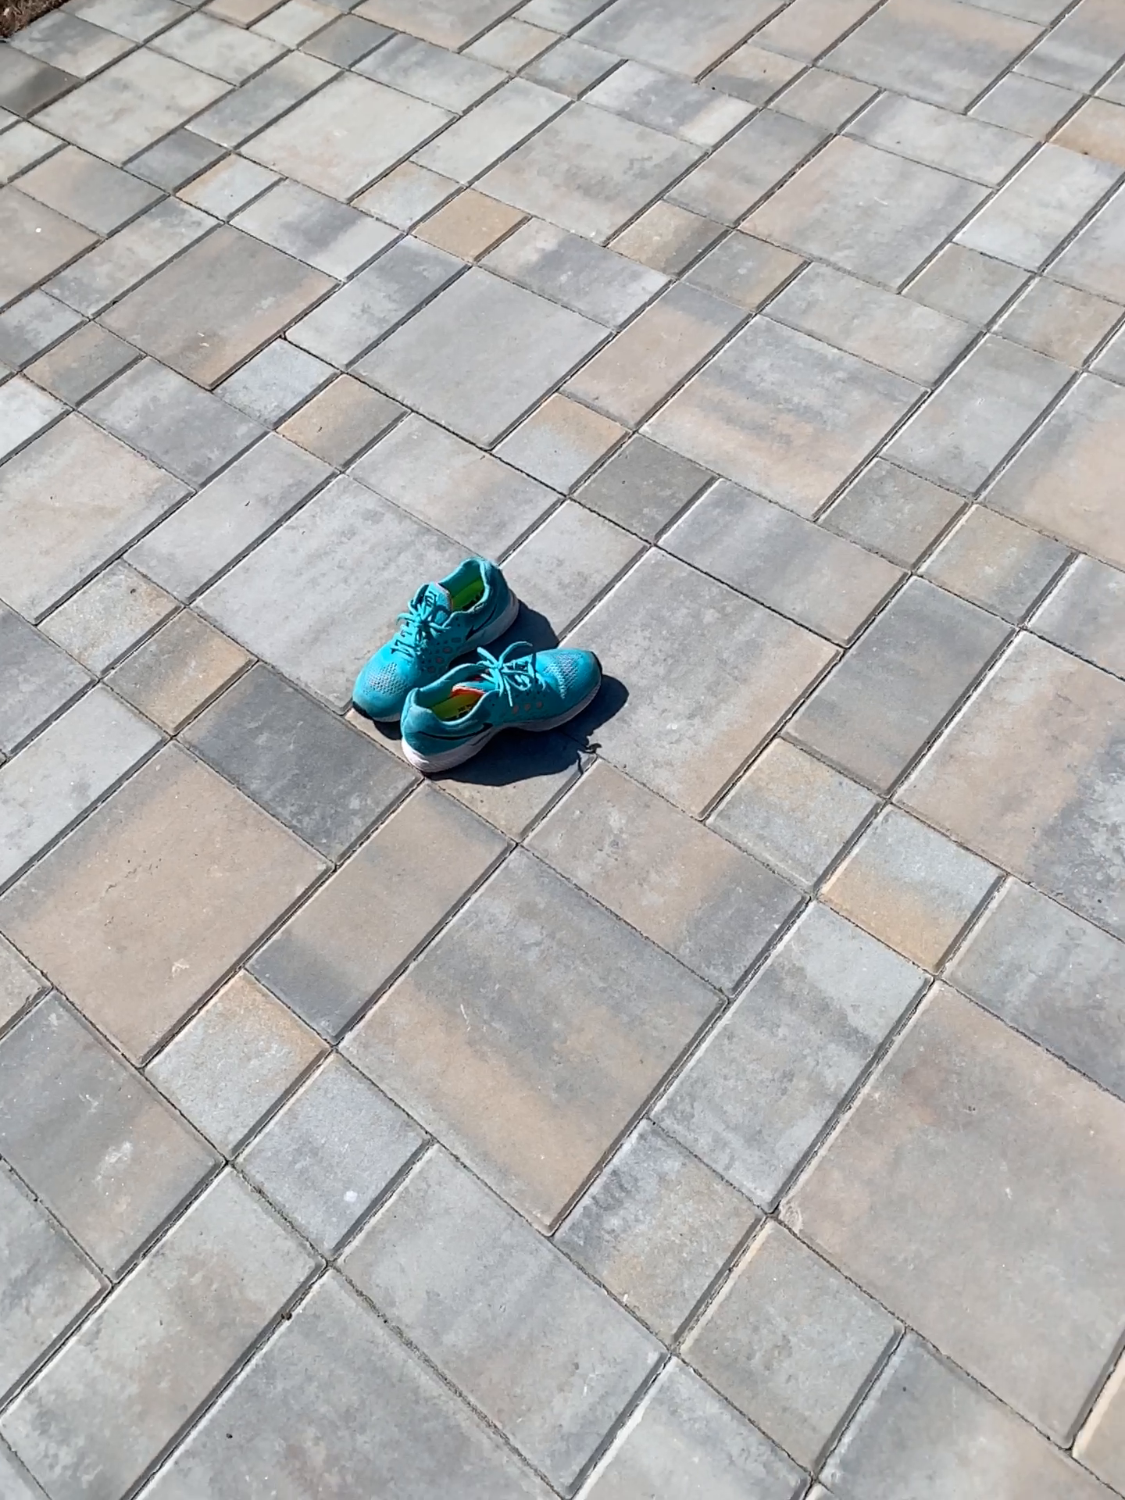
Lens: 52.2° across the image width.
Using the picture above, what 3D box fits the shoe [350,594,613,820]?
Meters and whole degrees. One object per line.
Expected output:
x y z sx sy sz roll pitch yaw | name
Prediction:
-0.095 -0.051 1.376 0.270 0.100 0.130 -28 60 -4 | shoe

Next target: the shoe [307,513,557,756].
-0.151 -0.142 1.390 0.130 0.100 0.270 38 70 25 | shoe
